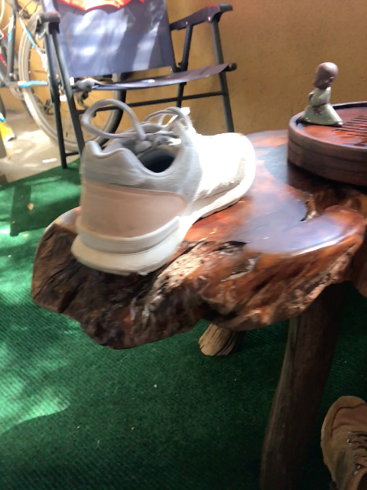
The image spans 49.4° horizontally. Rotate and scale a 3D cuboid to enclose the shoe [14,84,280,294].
[{"bbox_3d":[-0.009,-0.079,0.390,0.102,0.091,0.265,17,39,31],"label":"shoe"}]
